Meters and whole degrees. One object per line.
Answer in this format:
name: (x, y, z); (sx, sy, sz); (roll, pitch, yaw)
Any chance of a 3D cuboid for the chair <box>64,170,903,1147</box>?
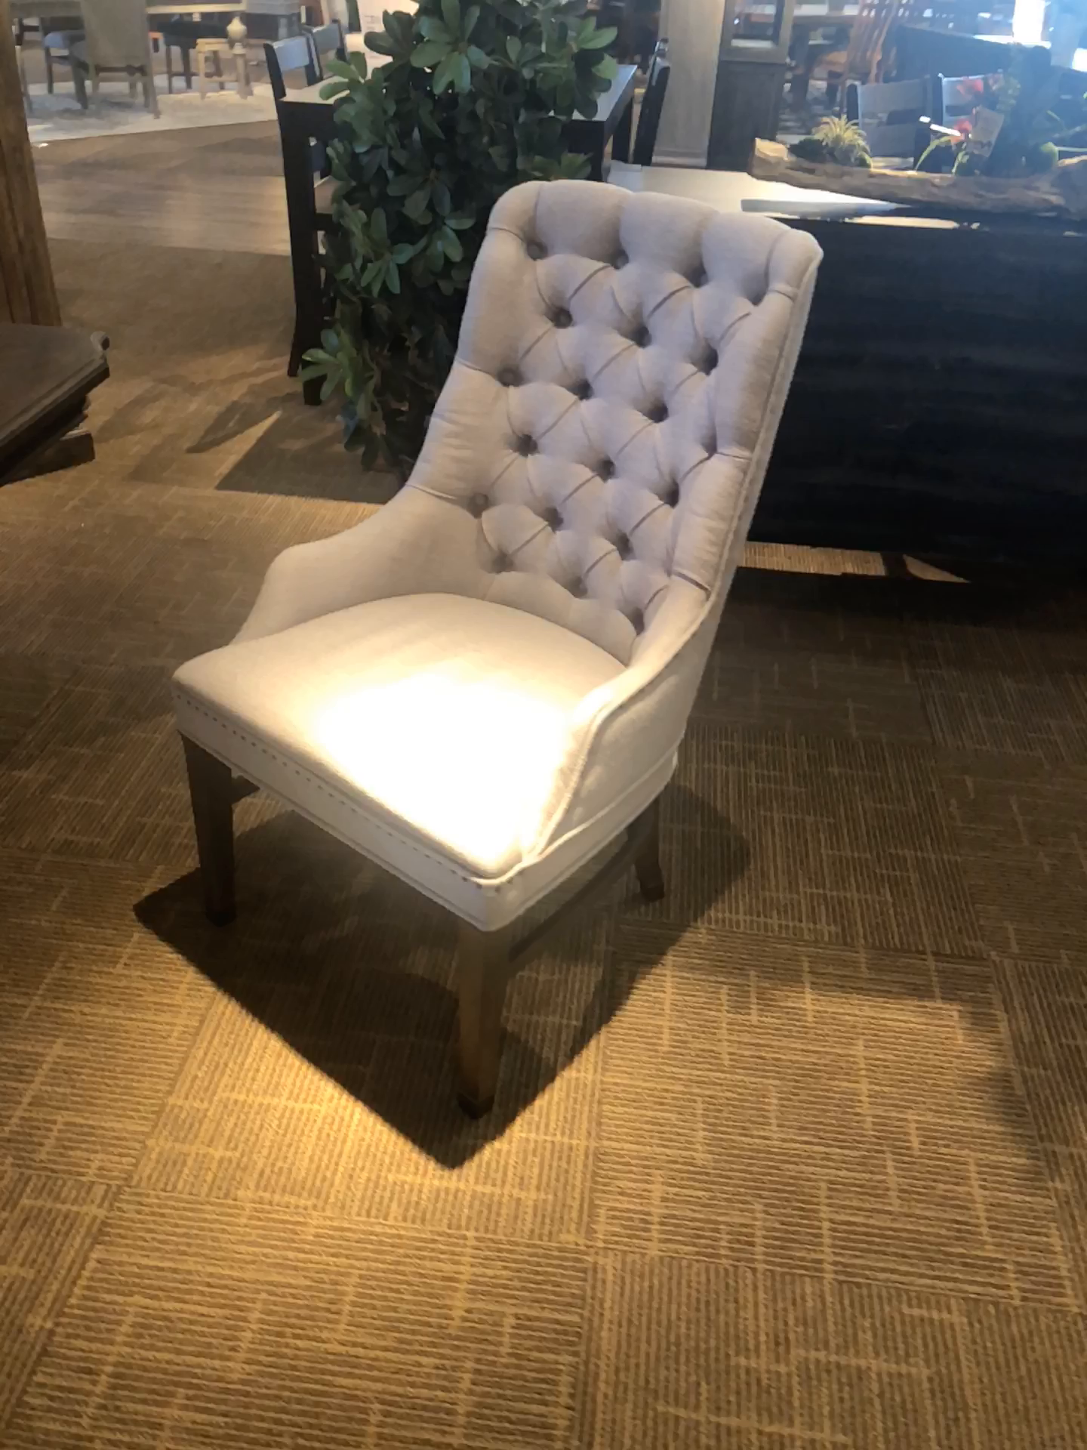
chair: (-0.069, -0.149, 1.685); (0.641, 1.015, 0.763); (28, 41, 33)
